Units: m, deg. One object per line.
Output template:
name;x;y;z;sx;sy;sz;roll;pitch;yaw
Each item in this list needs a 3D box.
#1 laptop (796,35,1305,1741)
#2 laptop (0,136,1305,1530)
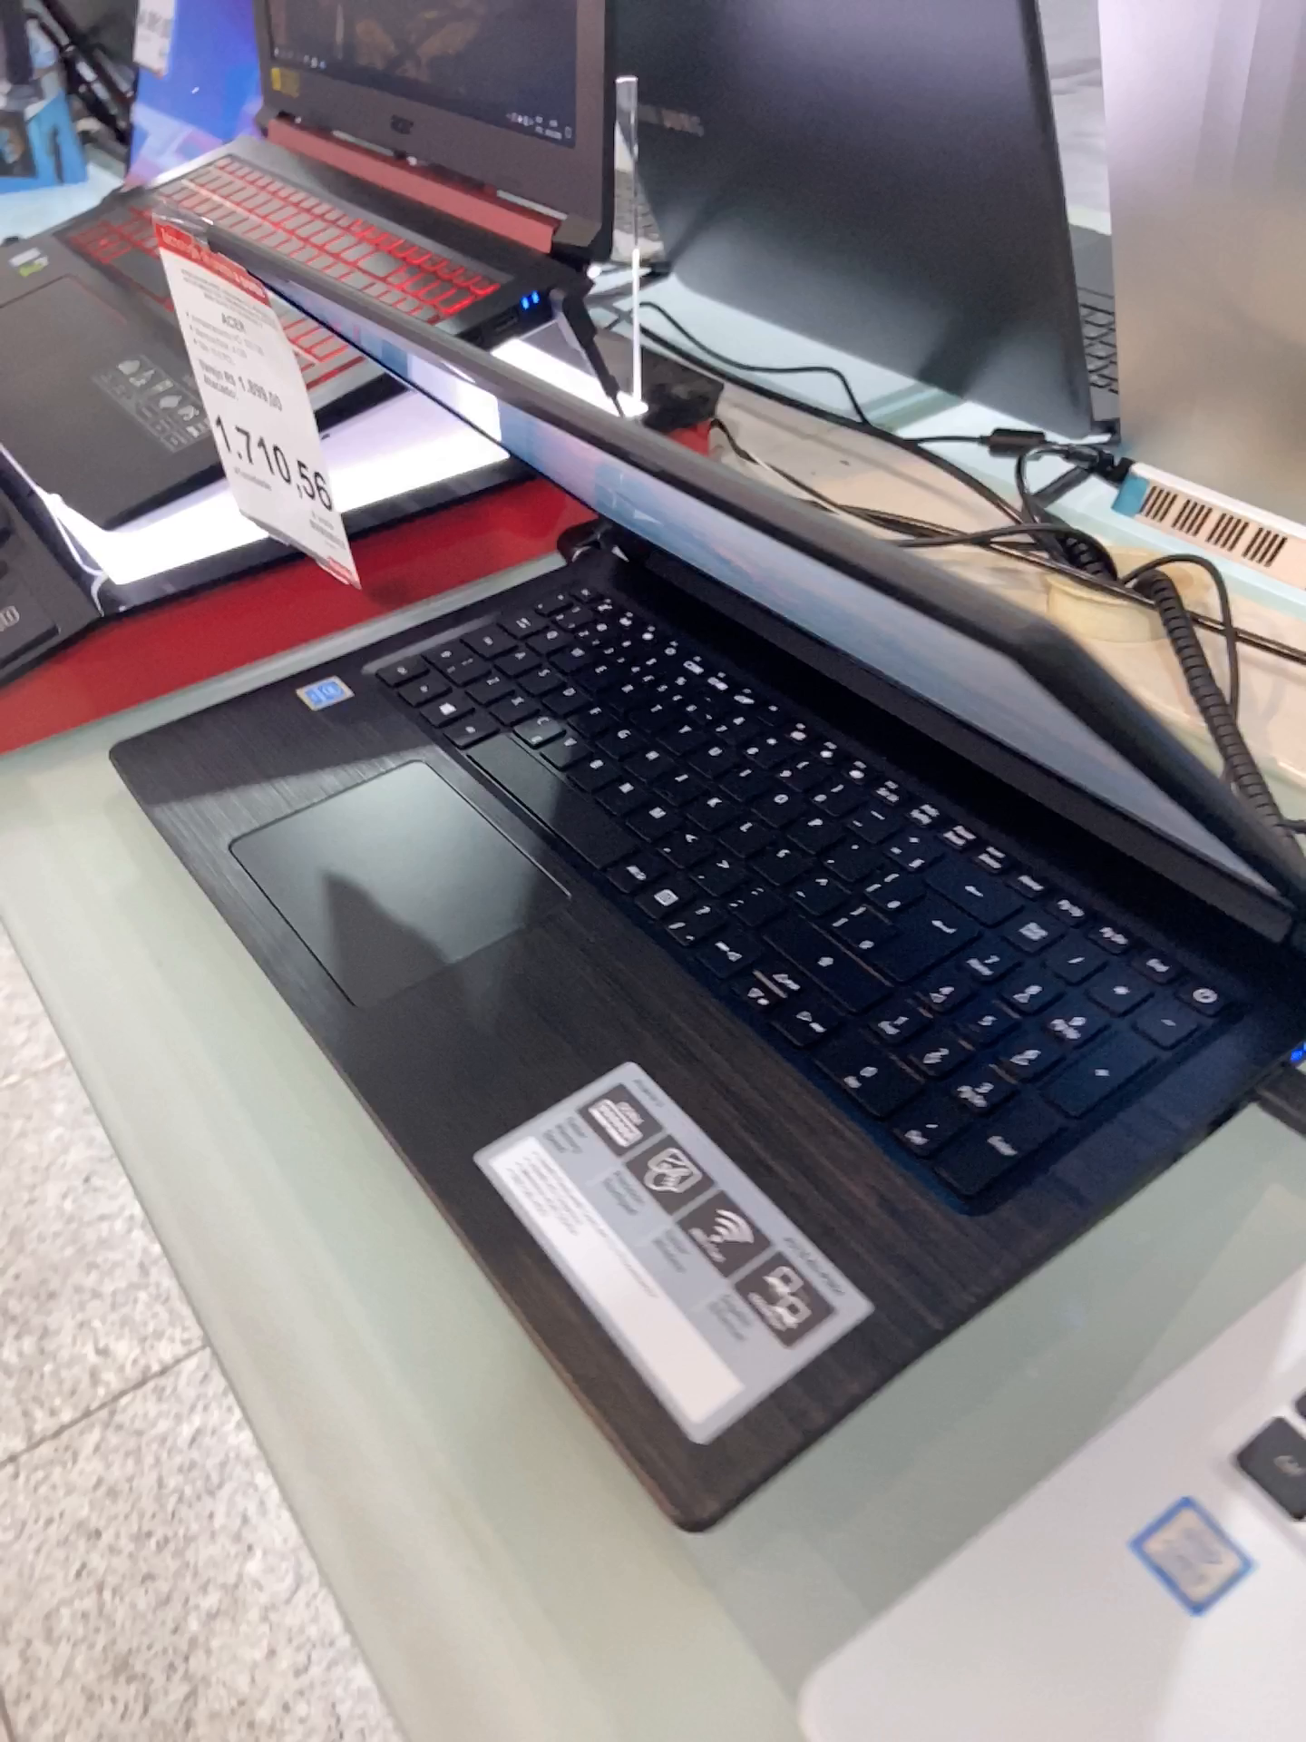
laptop;0.251;0.098;0.123;0.313;0.227;0.364;-26;44;-23
laptop;-0.017;-0.069;0.397;0.230;0.169;0.376;-29;45;-23
